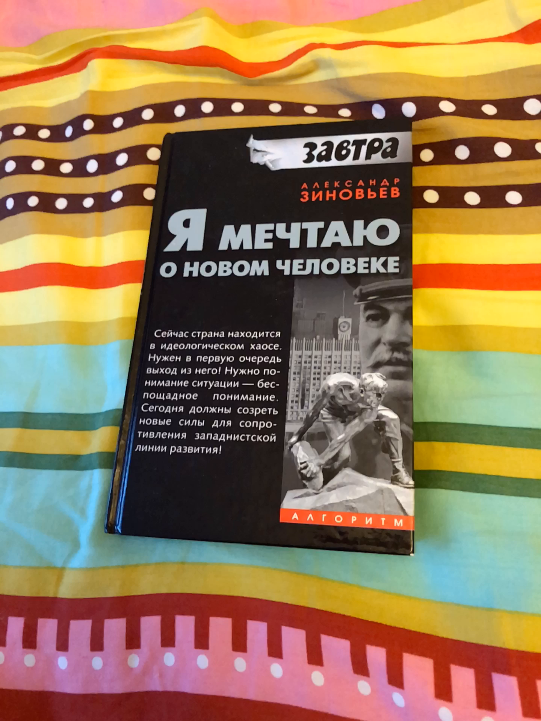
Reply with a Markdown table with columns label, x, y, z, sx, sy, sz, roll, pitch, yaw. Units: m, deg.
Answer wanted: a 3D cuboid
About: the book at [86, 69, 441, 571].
| label | x | y | z | sx | sy | sz | roll | pitch | yaw |
| --- | --- | --- | --- | --- | --- | --- | --- | --- | --- |
| book | 0.004 | -0.027 | 0.275 | 0.140 | 0.030 | 0.220 | 1 | 74 | 11 |
